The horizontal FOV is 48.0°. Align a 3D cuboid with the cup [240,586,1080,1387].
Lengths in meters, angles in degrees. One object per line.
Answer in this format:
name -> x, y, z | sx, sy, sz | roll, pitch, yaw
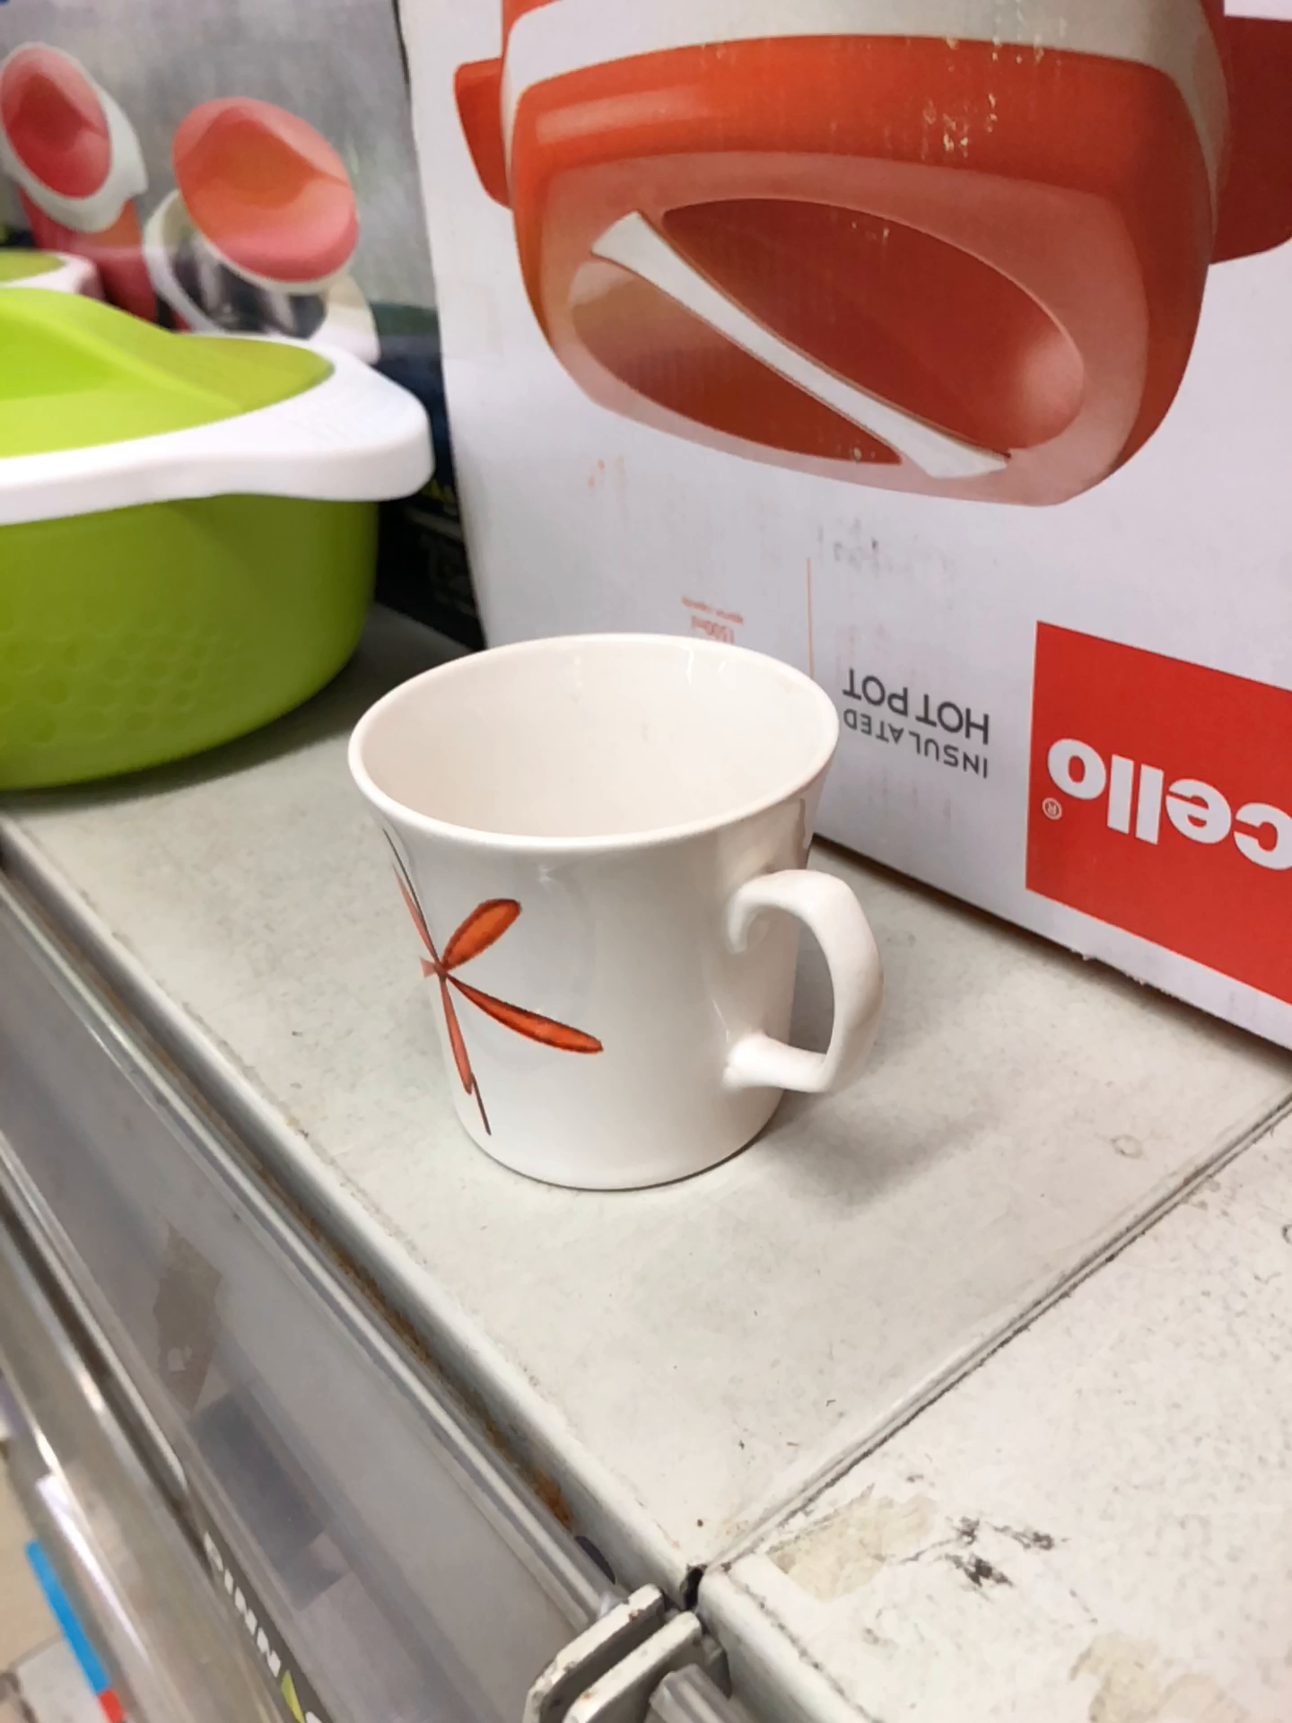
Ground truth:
cup -> 0.002, 0.010, 0.226 | 0.100, 0.070, 0.070 | 21, 38, 37
